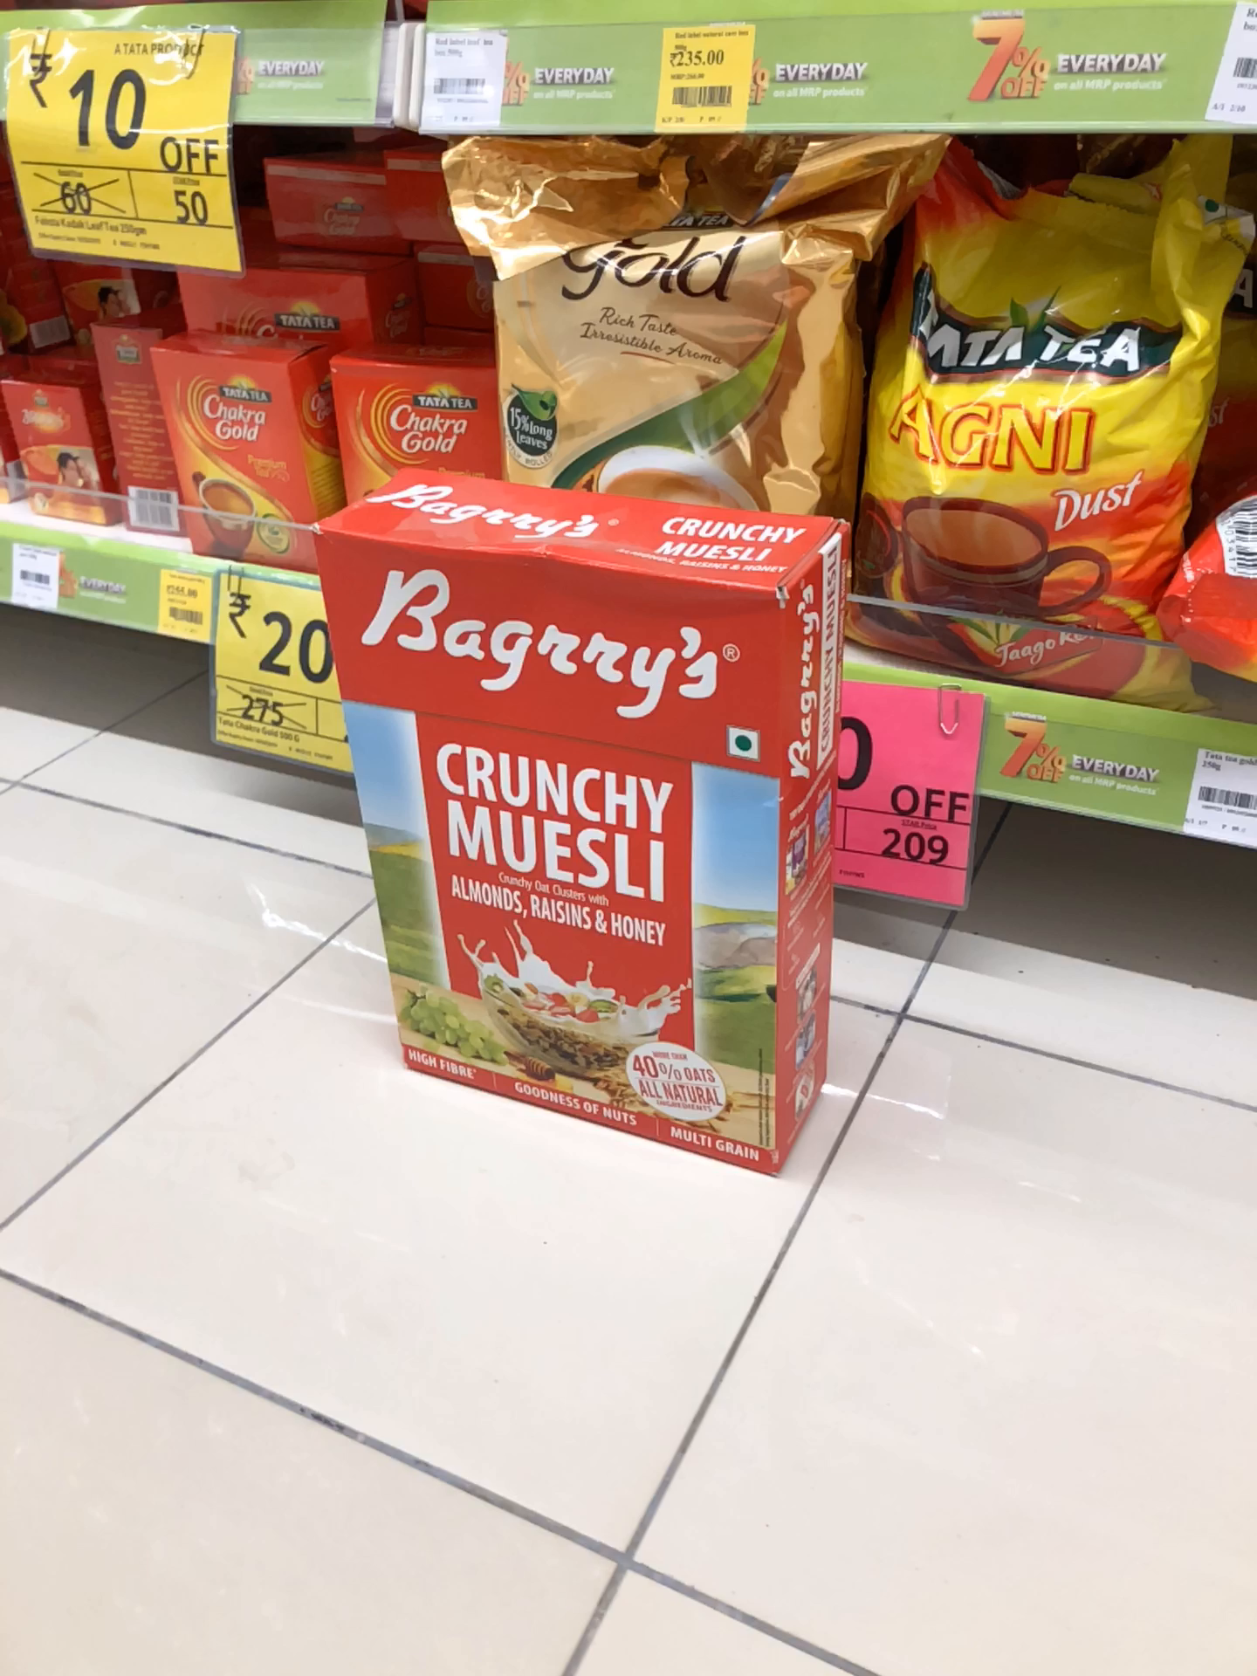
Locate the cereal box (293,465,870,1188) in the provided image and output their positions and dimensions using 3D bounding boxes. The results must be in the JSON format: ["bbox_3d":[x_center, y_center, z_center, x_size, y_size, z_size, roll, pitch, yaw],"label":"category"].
[{"bbox_3d":[-0.013,-0.003,0.574,0.200,0.268,0.070,12,35,22],"label":"cereal box"}]
